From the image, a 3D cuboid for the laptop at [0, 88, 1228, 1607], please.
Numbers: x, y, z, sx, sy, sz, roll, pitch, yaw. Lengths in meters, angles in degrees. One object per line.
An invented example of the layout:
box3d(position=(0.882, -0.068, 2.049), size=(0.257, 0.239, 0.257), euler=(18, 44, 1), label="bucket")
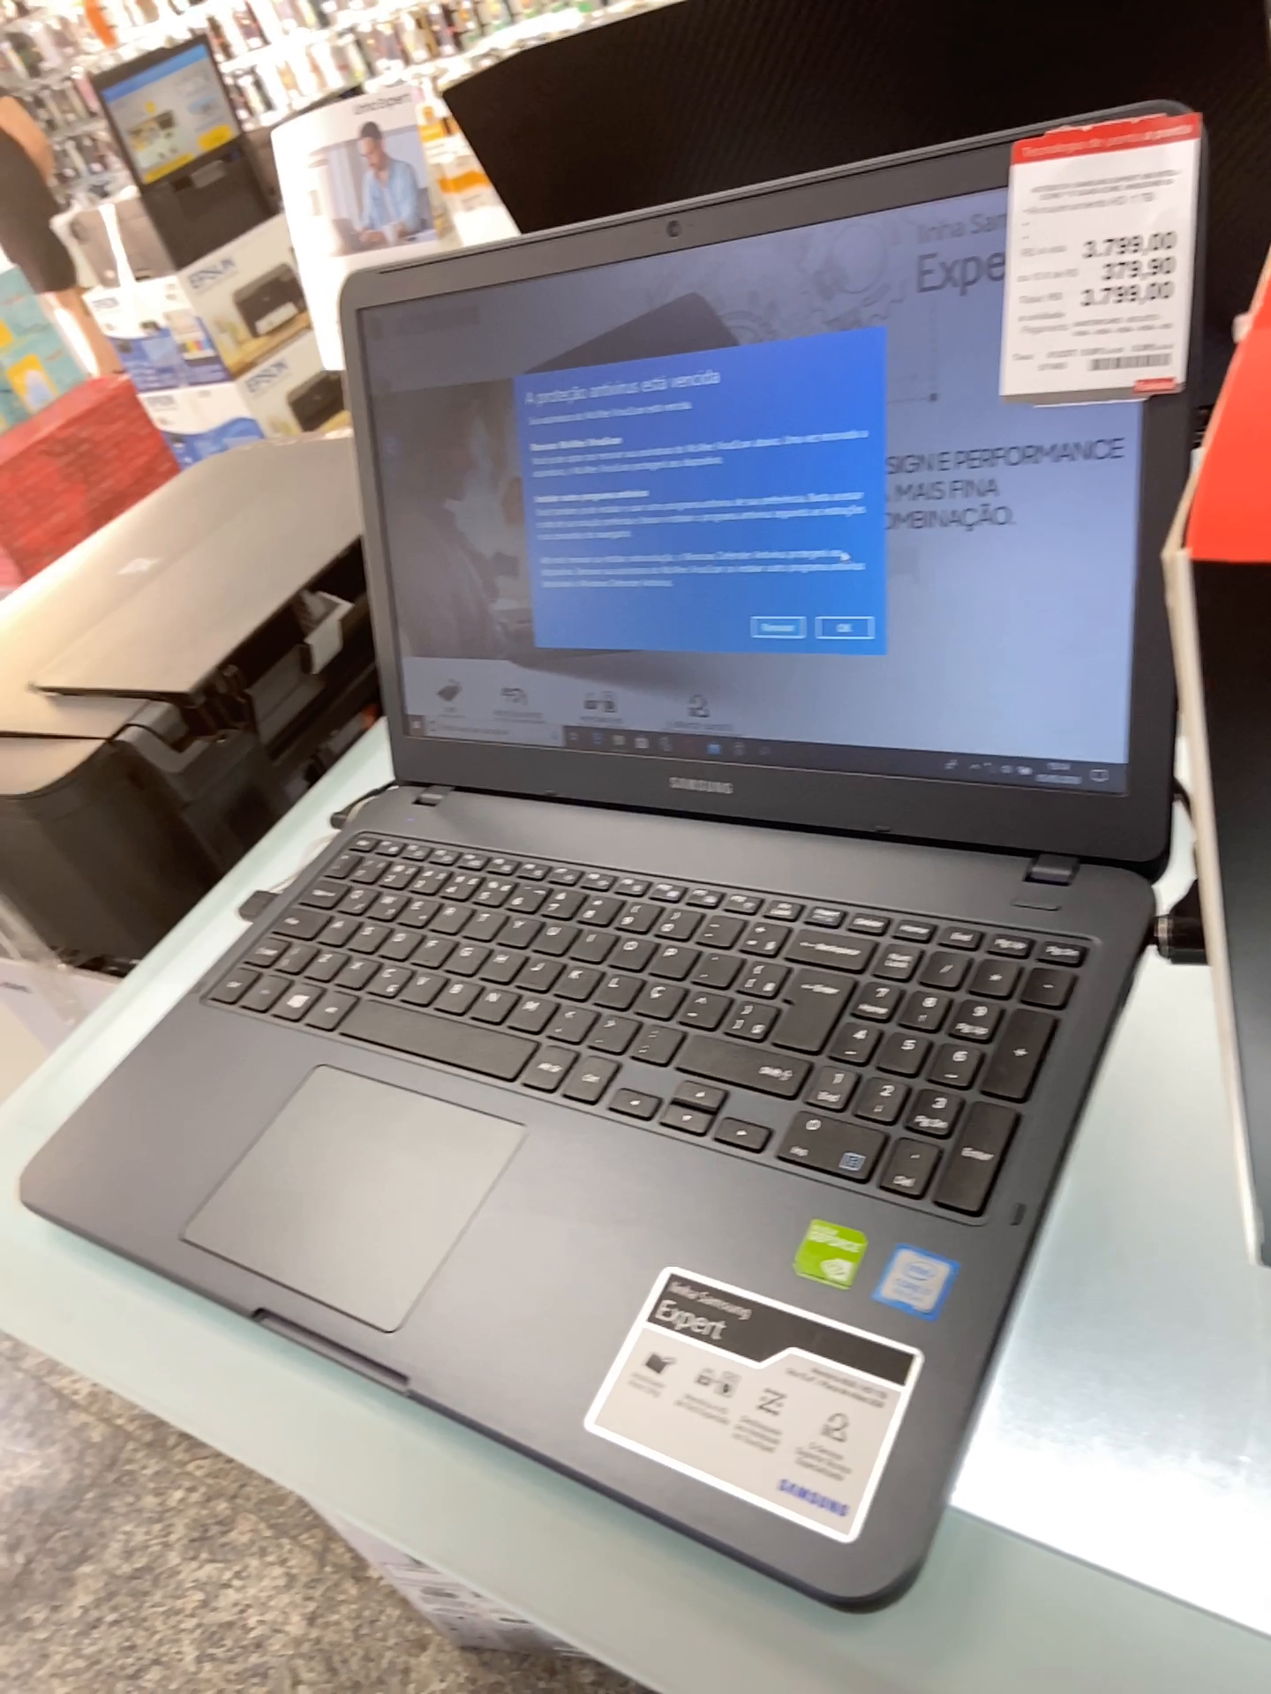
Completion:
box3d(position=(-0.041, -0.046, 0.454), size=(0.371, 0.207, 0.372), euler=(7, 46, 35), label="laptop")
